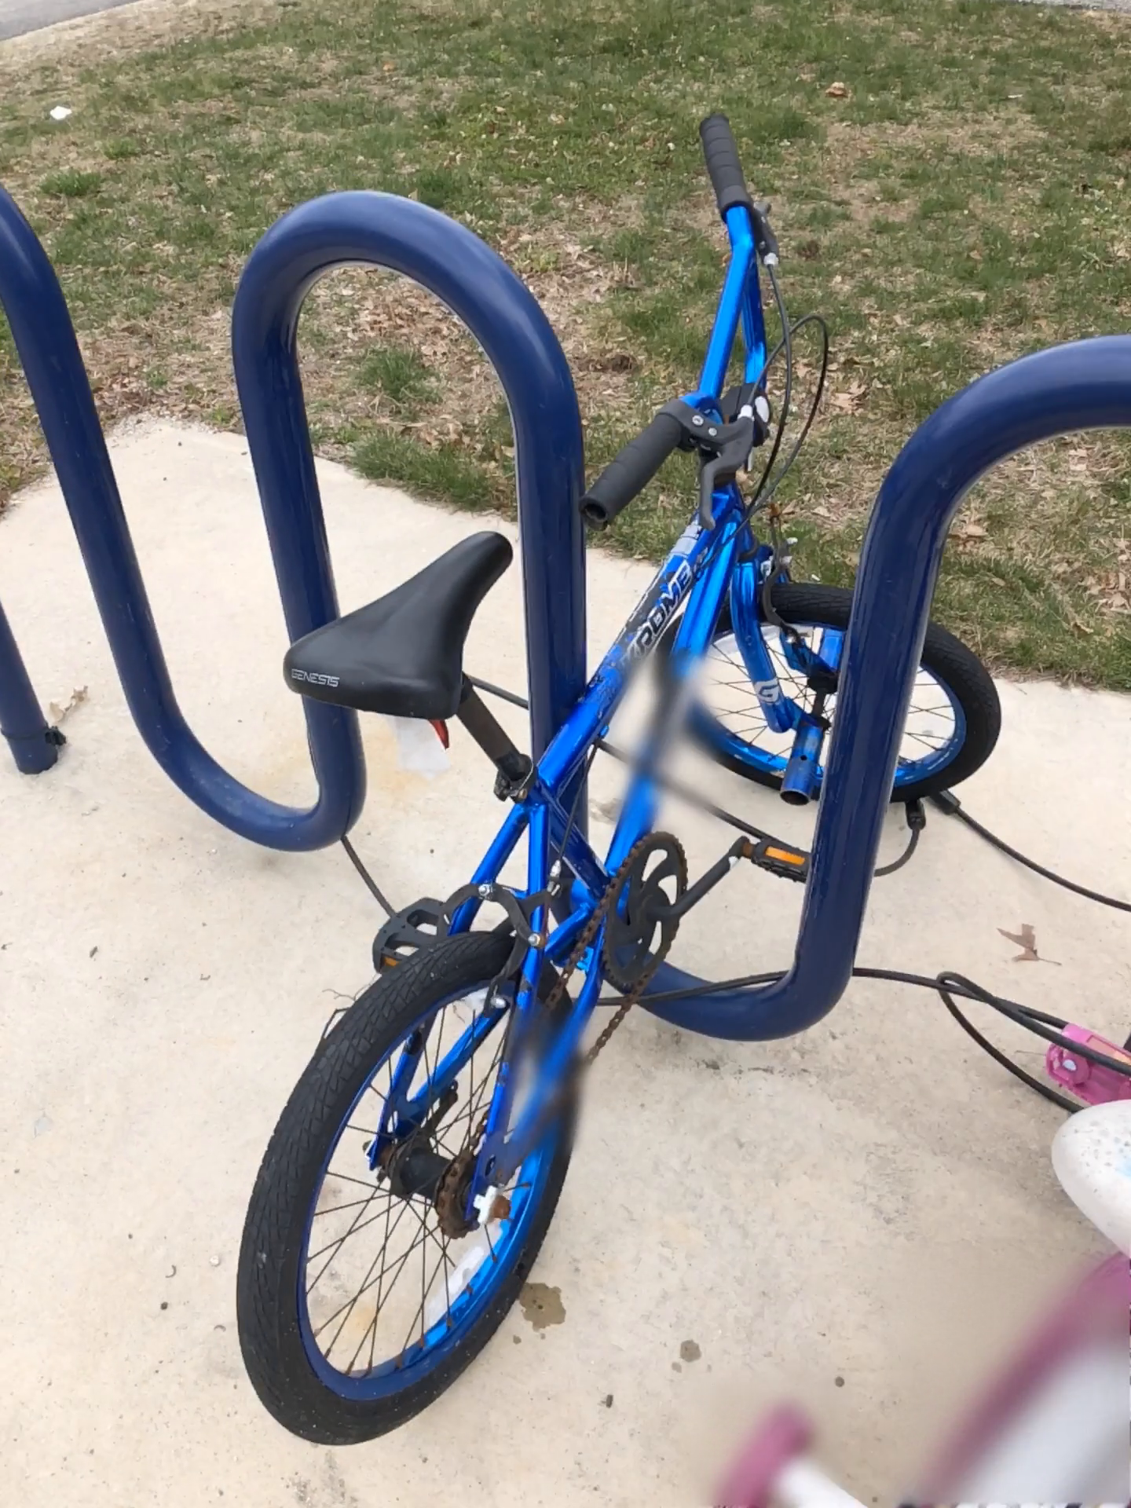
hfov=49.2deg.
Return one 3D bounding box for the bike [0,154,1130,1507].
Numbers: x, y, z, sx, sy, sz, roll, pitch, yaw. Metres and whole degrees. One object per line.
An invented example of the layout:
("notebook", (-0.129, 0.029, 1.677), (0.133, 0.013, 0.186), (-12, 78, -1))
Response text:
("bike", (0.037, 0.032, 1.157), (0.622, 0.840, 1.034), (27, 47, 30))
